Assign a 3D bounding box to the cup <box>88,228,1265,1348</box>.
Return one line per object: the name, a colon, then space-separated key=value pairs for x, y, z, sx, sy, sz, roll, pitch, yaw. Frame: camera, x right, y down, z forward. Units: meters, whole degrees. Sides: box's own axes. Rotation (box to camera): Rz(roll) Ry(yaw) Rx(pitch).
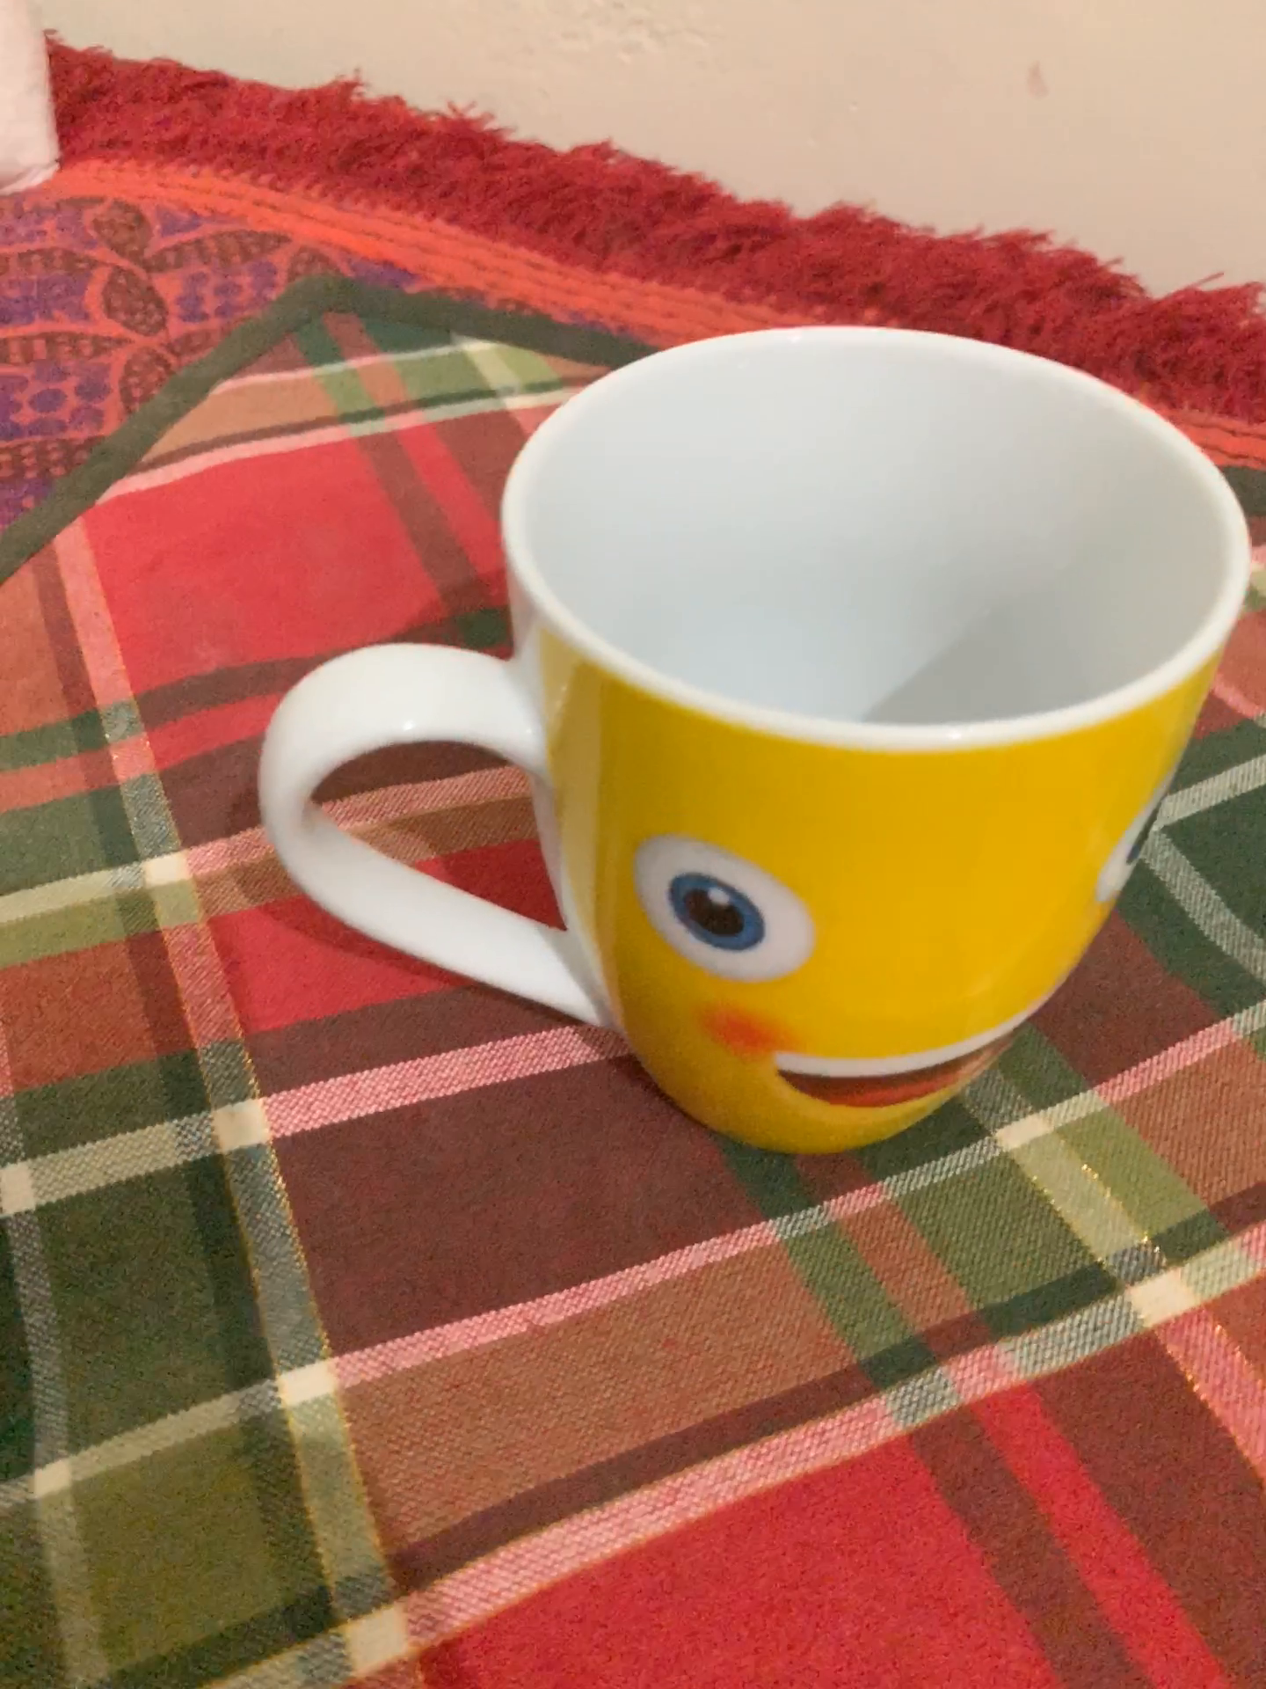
cup: x=0.010 y=-0.009 z=0.157 sx=0.120 sy=0.080 sz=0.080 roll=-11 pitch=49 yaw=-9
